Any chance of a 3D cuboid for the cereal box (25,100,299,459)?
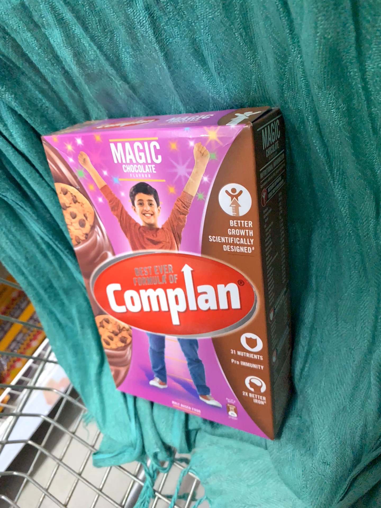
[{"bbox_3d":[-0.012,0.019,0.280,0.161,0.220,0.050,6,27,30],"label":"cereal box"}]
